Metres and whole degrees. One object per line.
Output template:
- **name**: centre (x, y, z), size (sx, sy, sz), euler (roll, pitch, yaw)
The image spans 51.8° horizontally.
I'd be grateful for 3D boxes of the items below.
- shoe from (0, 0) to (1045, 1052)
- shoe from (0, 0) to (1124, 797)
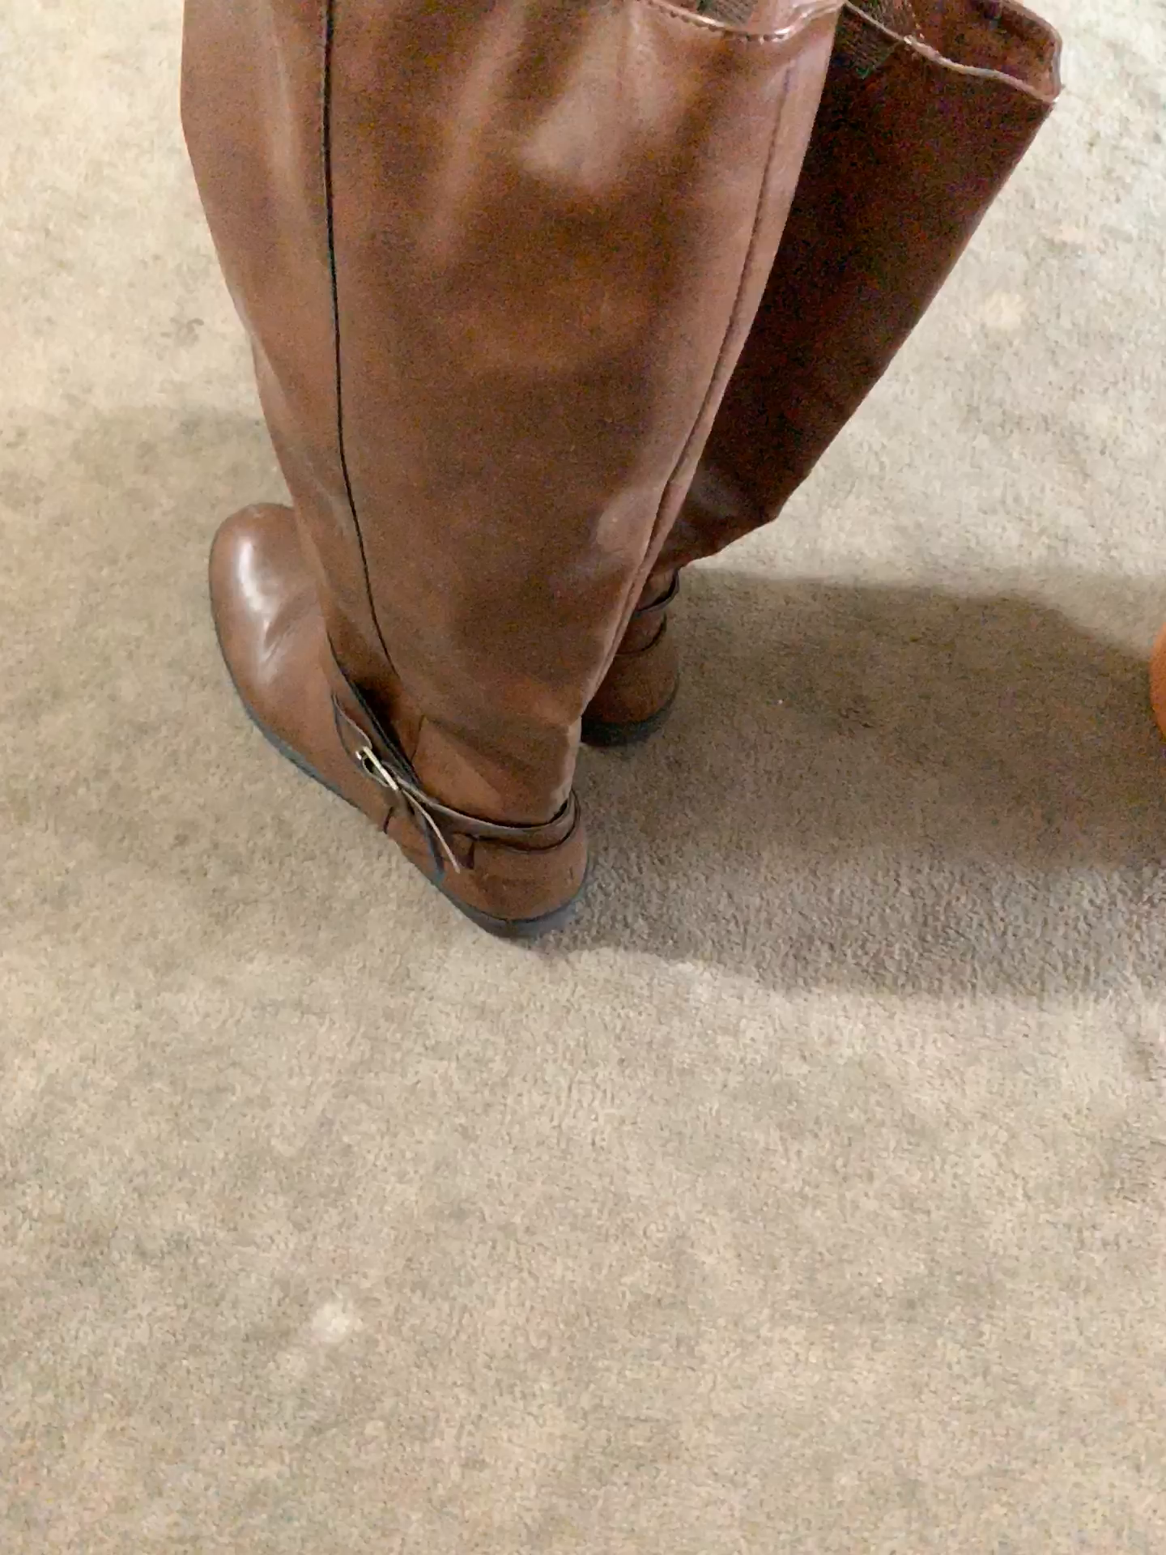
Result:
- **shoe**: centre (-0.064, -0.103, 0.404), size (0.120, 0.398, 0.271), euler (-32, 69, -19)
- **shoe**: centre (-0.028, -0.195, 0.433), size (0.110, 0.368, 0.261), euler (-39, 71, -21)
